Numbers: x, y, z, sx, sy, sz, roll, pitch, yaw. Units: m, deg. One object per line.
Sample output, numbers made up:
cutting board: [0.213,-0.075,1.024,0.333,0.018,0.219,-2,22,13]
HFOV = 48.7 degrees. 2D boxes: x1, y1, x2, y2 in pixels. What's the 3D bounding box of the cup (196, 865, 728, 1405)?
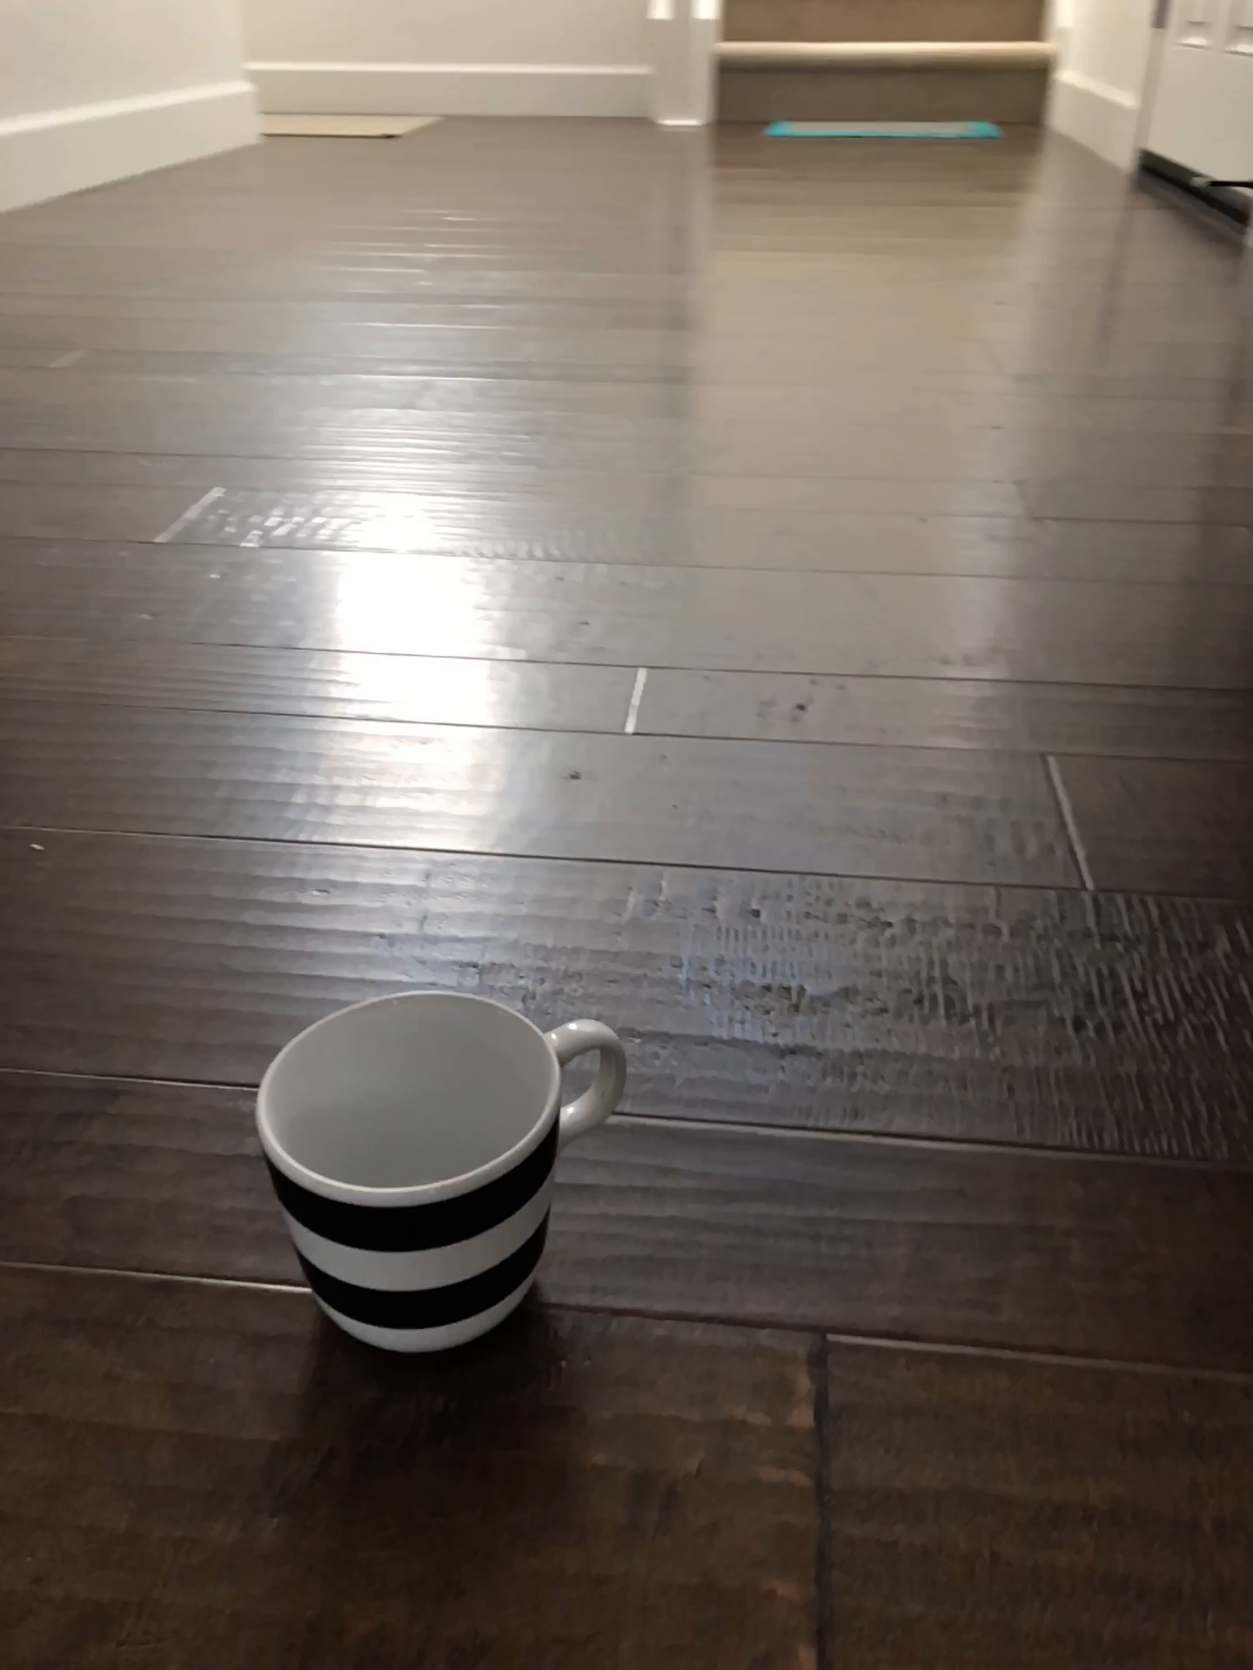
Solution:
cup: [-0.047,0.080,0.405,0.120,0.079,0.090,-17,35,-27]
